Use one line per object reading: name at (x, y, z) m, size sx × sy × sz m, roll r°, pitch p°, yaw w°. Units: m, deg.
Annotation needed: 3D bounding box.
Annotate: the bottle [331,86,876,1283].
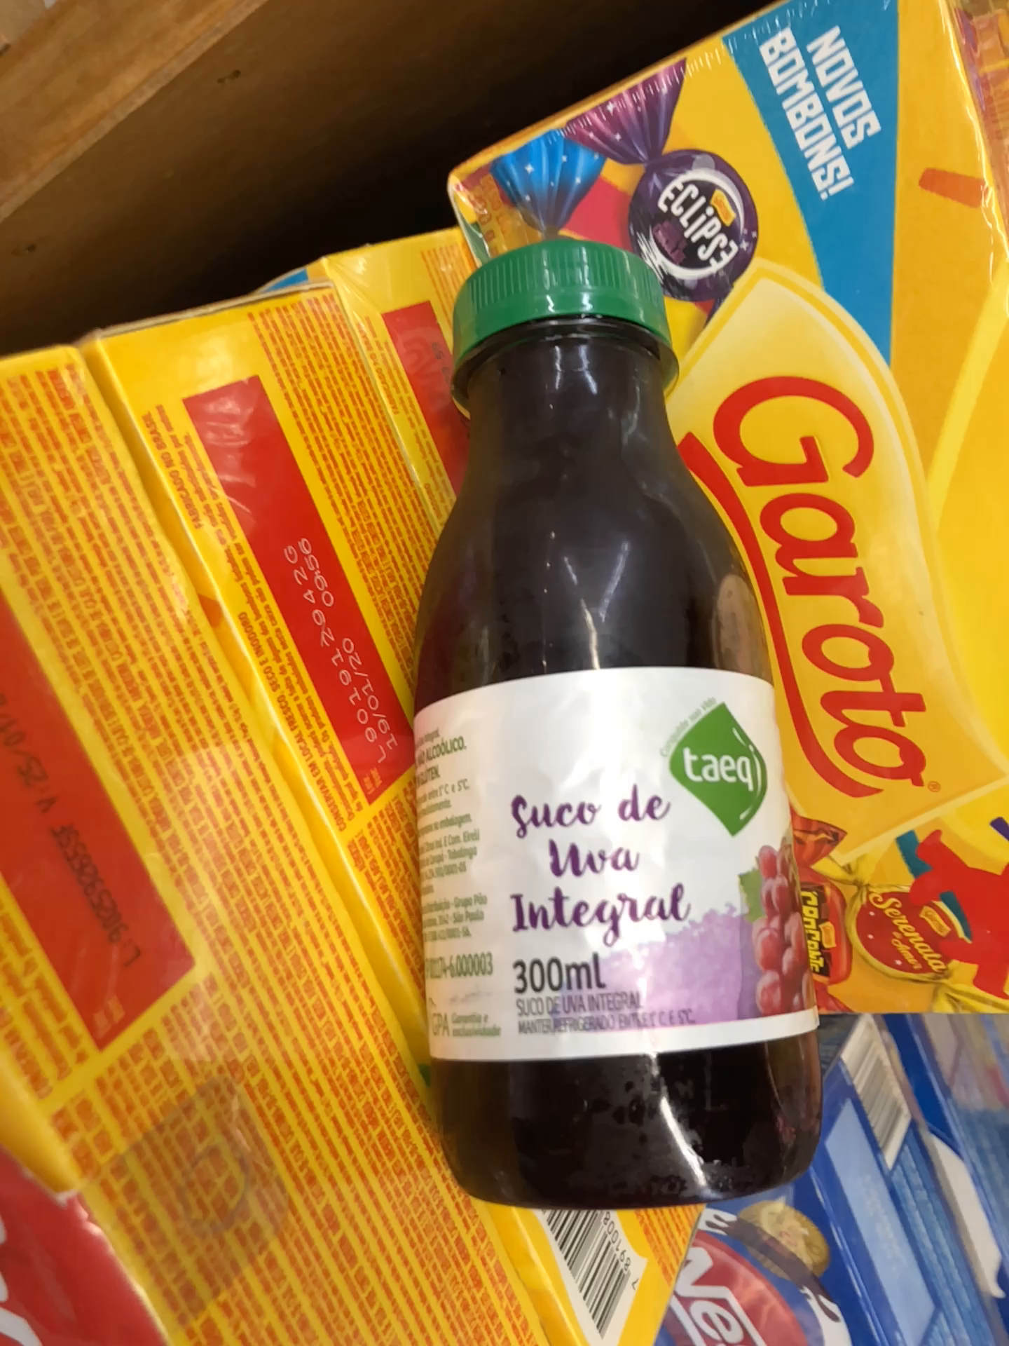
bottle at (0.015, 0.001, 0.196) m, size 0.070 × 0.050 × 0.170 m, roll 16°, pitch 65°, yaw -52°
